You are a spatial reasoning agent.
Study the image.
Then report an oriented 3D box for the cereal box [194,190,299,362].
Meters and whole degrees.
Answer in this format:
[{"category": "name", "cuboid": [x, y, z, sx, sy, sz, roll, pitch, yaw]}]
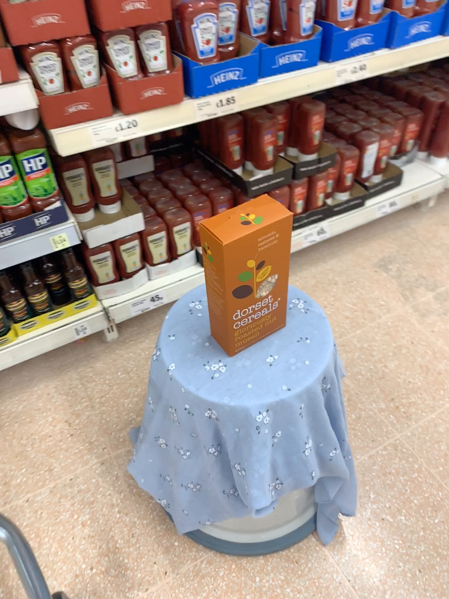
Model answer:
[{"category": "cereal box", "cuboid": [0.033, -0.028, 0.688, 0.120, 0.228, 0.070, -26, 48, -23]}]
